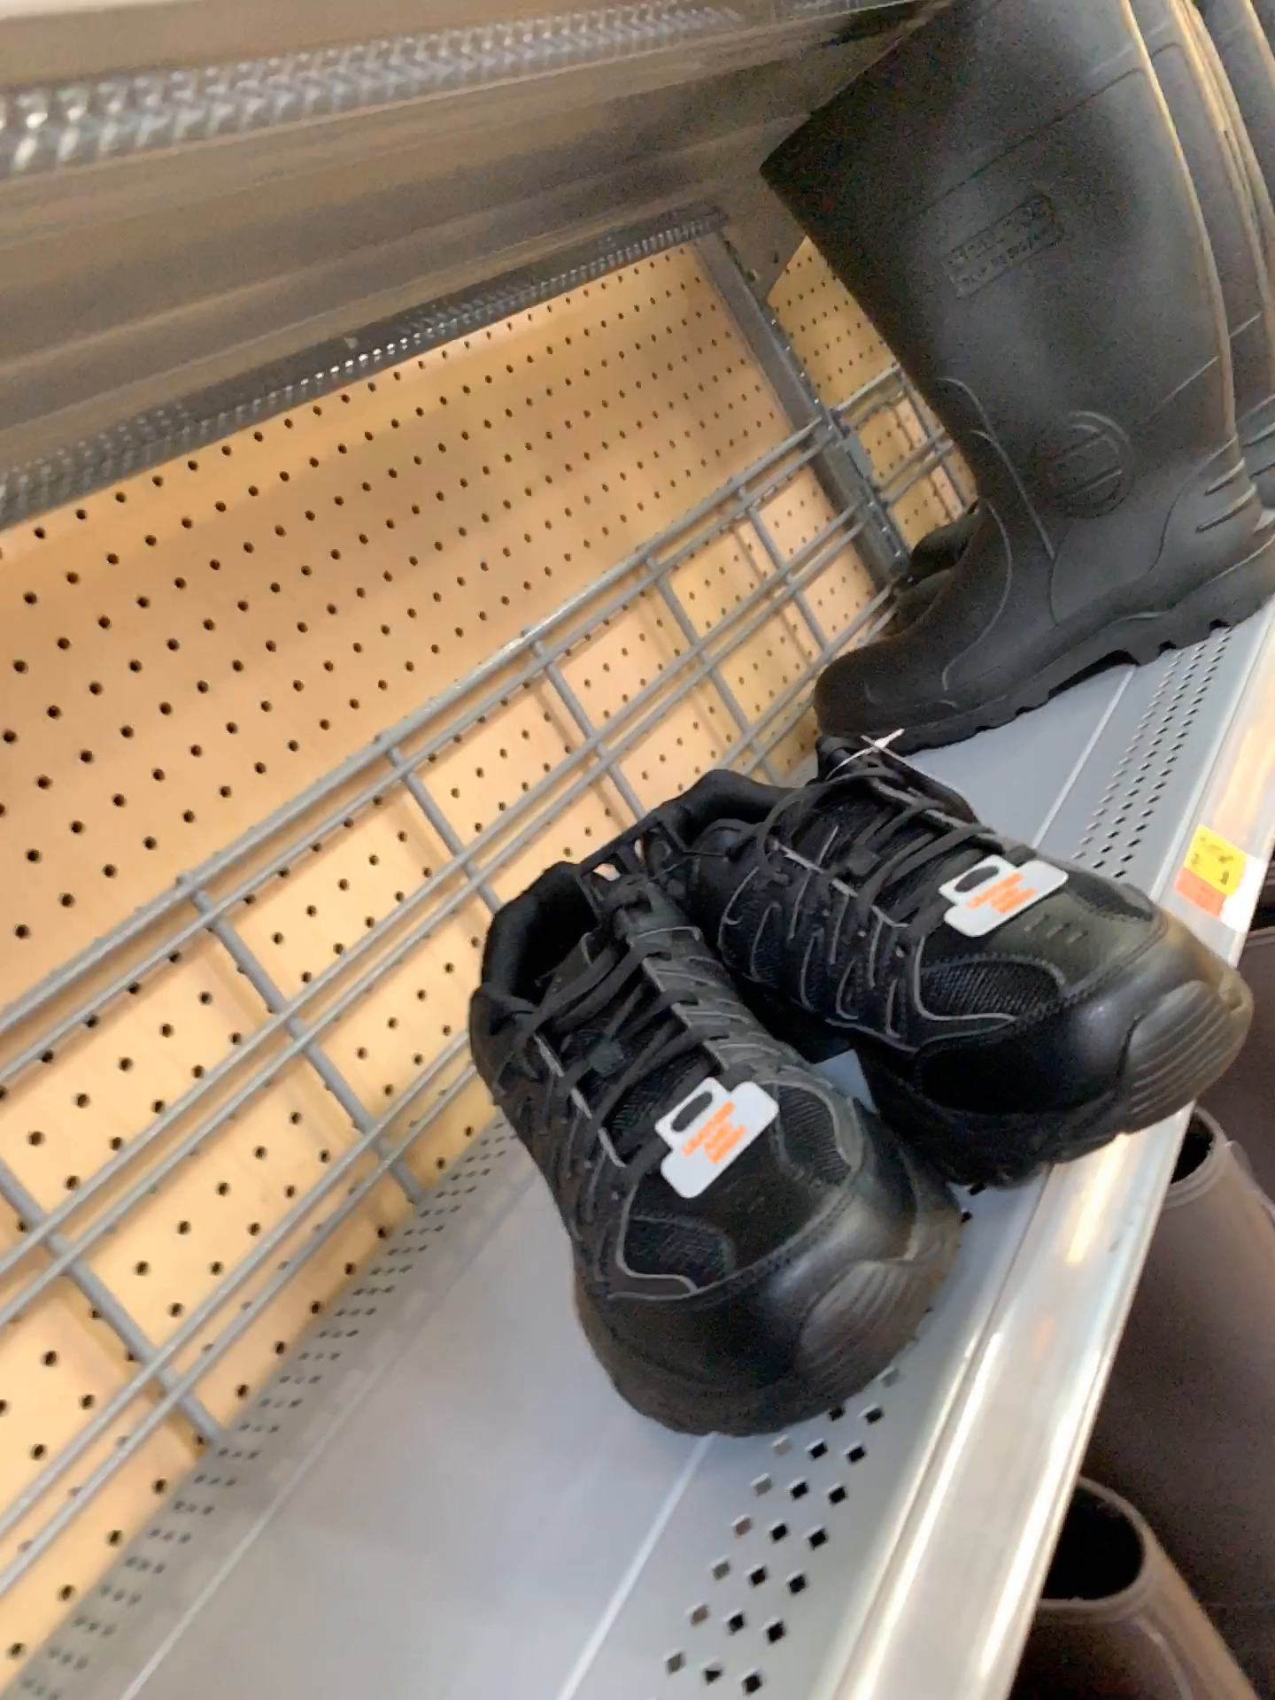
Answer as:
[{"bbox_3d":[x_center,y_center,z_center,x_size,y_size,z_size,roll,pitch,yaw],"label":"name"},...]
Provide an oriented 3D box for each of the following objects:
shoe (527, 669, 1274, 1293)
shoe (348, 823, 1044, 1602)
[{"bbox_3d":[0.082,0.026,0.483,0.135,0.104,0.297,-36,14,-15],"label":"shoe"},{"bbox_3d":[-0.012,0.088,0.469,0.139,0.104,0.297,-34,14,-7],"label":"shoe"}]
